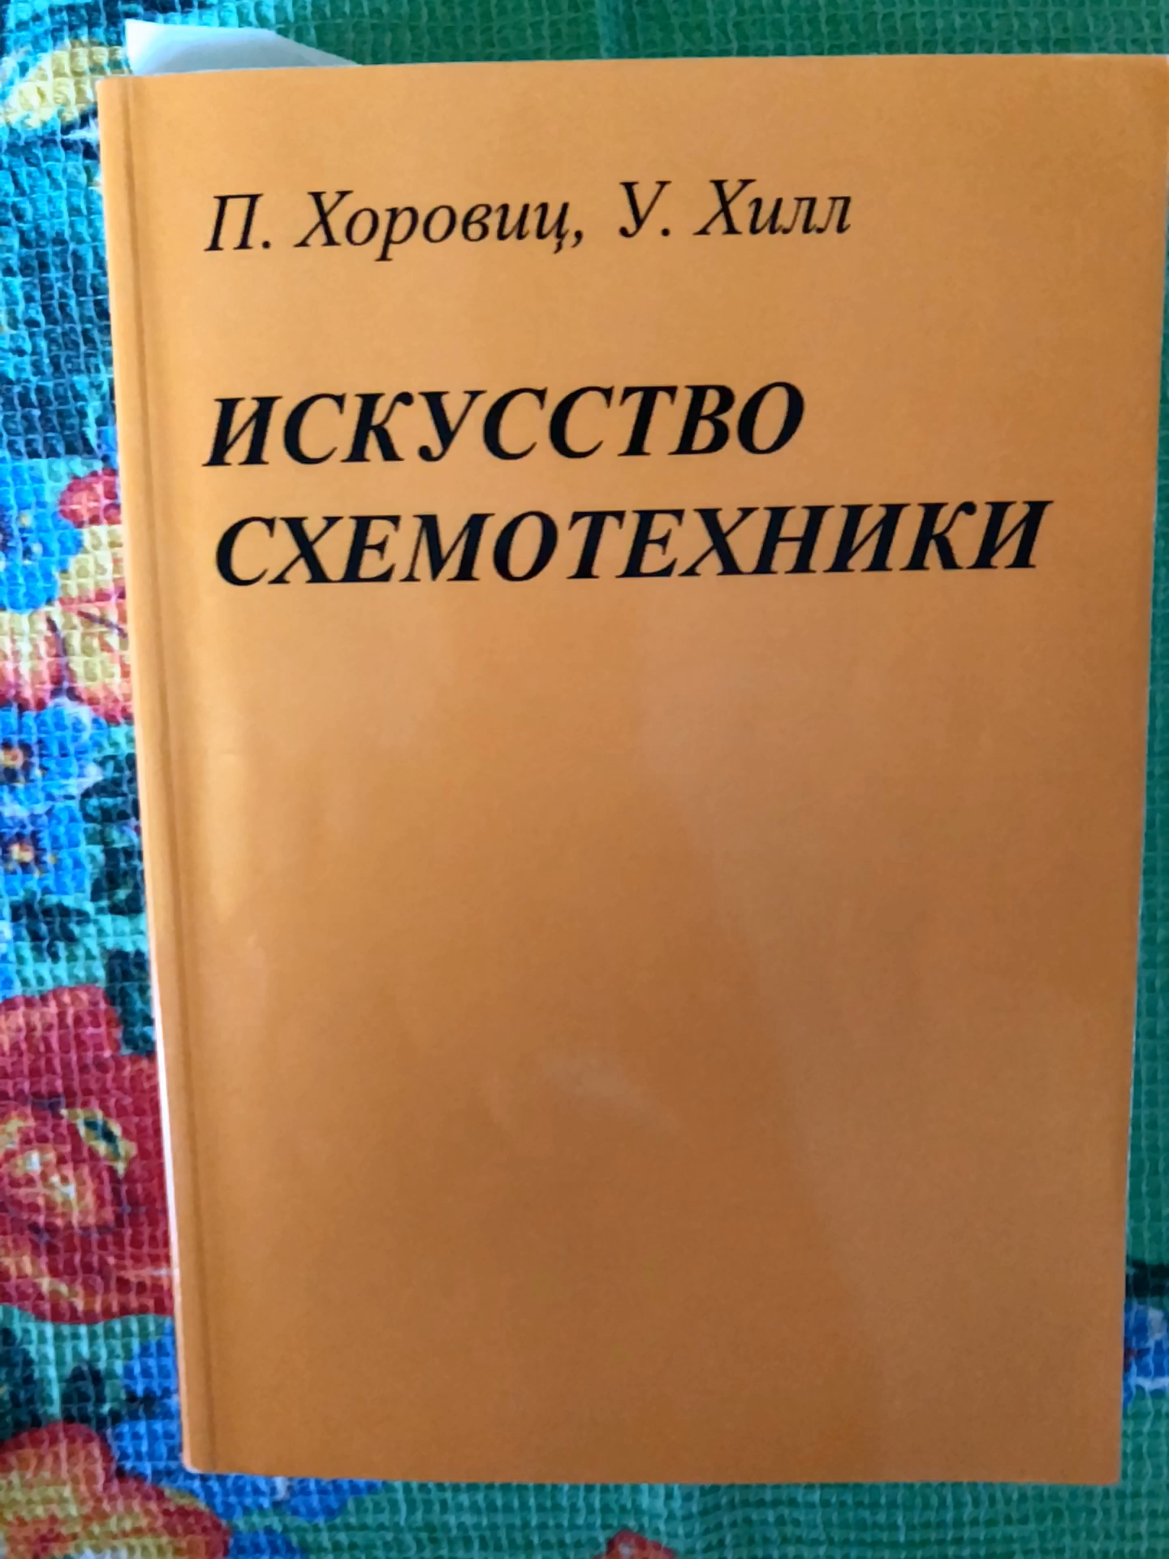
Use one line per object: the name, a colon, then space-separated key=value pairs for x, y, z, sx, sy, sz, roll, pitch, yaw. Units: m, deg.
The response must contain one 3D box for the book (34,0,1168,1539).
book: x=0.005 y=-0.005 z=0.239 sx=0.180 sy=0.050 sz=0.260 roll=-2 pitch=92 yaw=0
